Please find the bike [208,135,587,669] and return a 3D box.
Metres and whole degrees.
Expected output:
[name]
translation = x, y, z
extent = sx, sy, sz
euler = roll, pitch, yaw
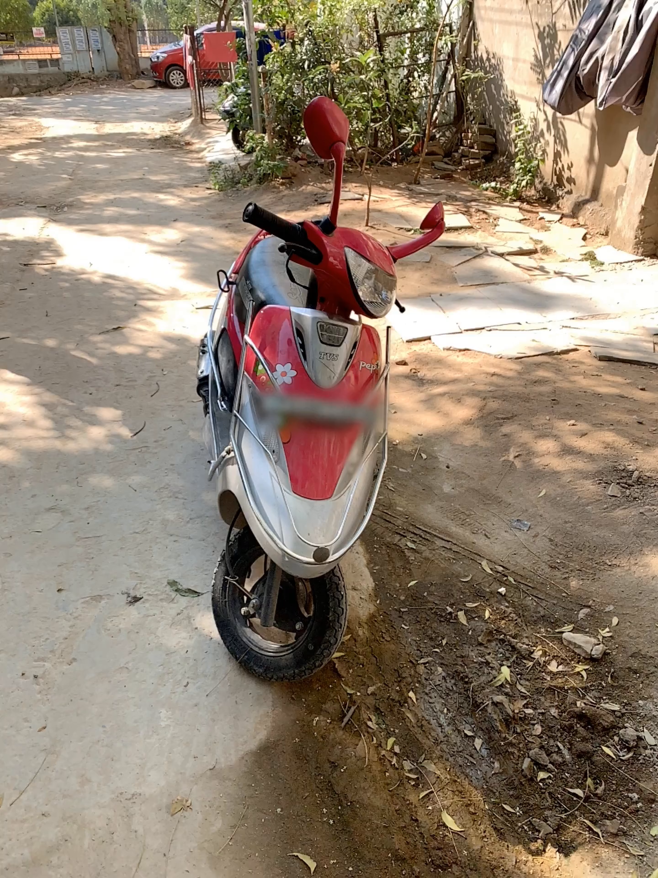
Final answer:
[bike]
translation = 0.010, -0.267, 1.993
extent = 0.484, 1.037, 1.500
euler = -8, 30, -11
